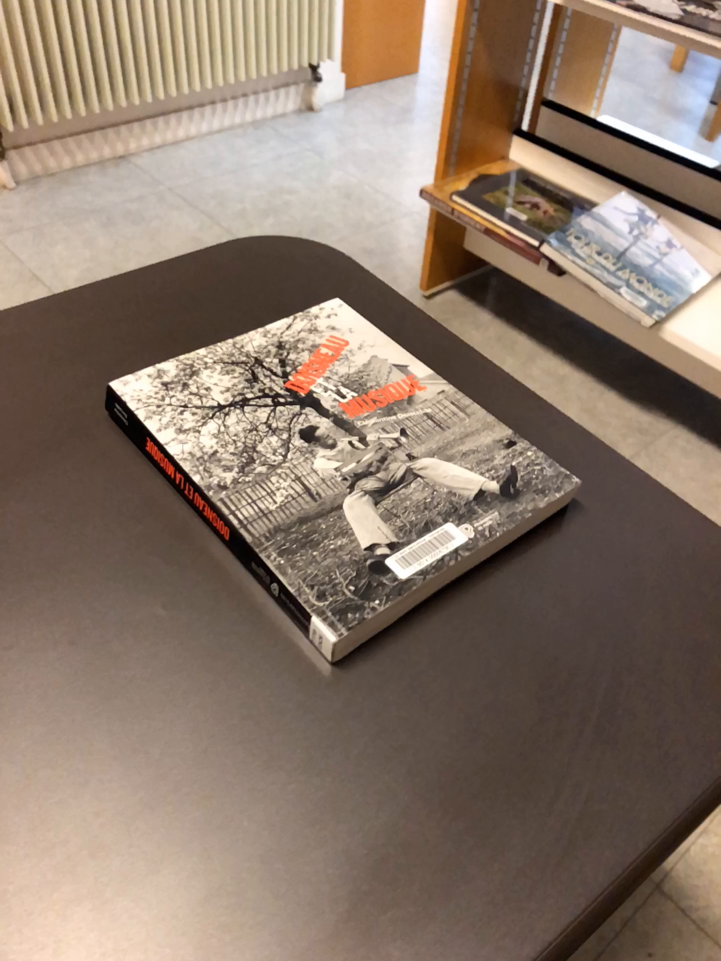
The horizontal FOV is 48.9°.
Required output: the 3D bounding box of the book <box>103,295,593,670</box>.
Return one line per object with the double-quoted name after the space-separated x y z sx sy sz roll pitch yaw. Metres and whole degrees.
-0.015 -0.024 0.507 0.195 0.030 0.250 -27 51 -29 "book"
